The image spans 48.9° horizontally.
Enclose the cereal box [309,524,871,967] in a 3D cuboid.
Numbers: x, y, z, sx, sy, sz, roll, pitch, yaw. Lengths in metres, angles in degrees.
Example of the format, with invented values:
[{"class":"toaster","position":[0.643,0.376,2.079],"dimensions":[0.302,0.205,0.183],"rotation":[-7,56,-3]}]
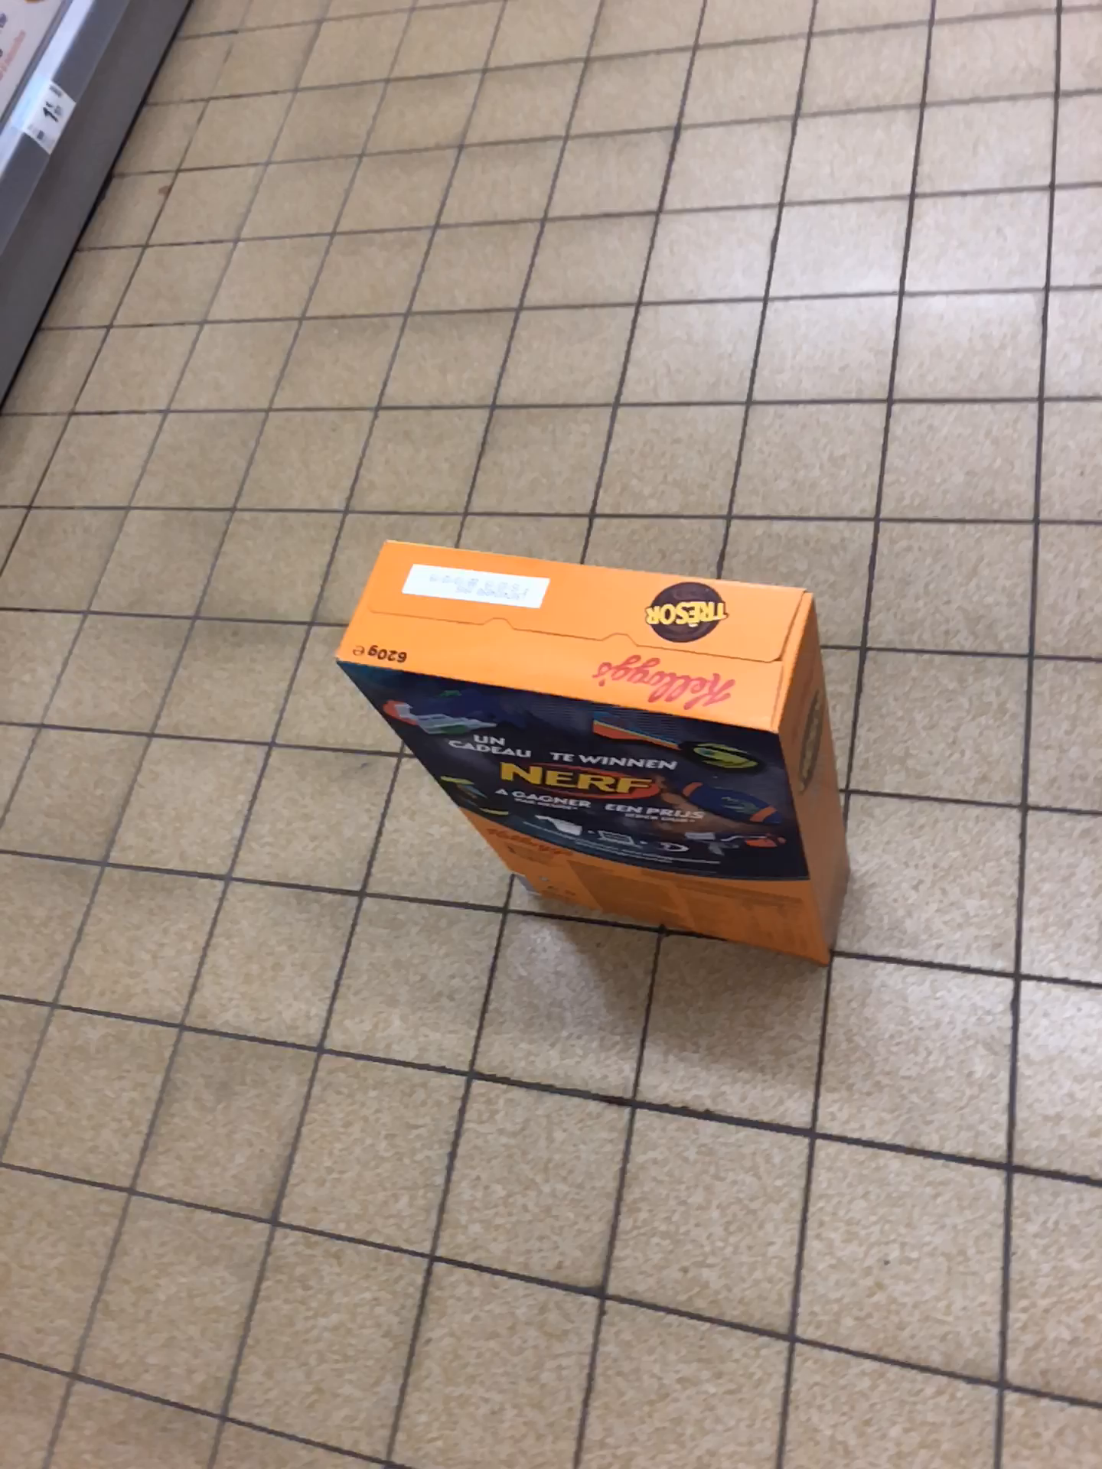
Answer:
[{"class":"cereal box","position":[0.043,0.019,0.608],"dimensions":[0.210,0.289,0.070],"rotation":[10,67,21]}]
